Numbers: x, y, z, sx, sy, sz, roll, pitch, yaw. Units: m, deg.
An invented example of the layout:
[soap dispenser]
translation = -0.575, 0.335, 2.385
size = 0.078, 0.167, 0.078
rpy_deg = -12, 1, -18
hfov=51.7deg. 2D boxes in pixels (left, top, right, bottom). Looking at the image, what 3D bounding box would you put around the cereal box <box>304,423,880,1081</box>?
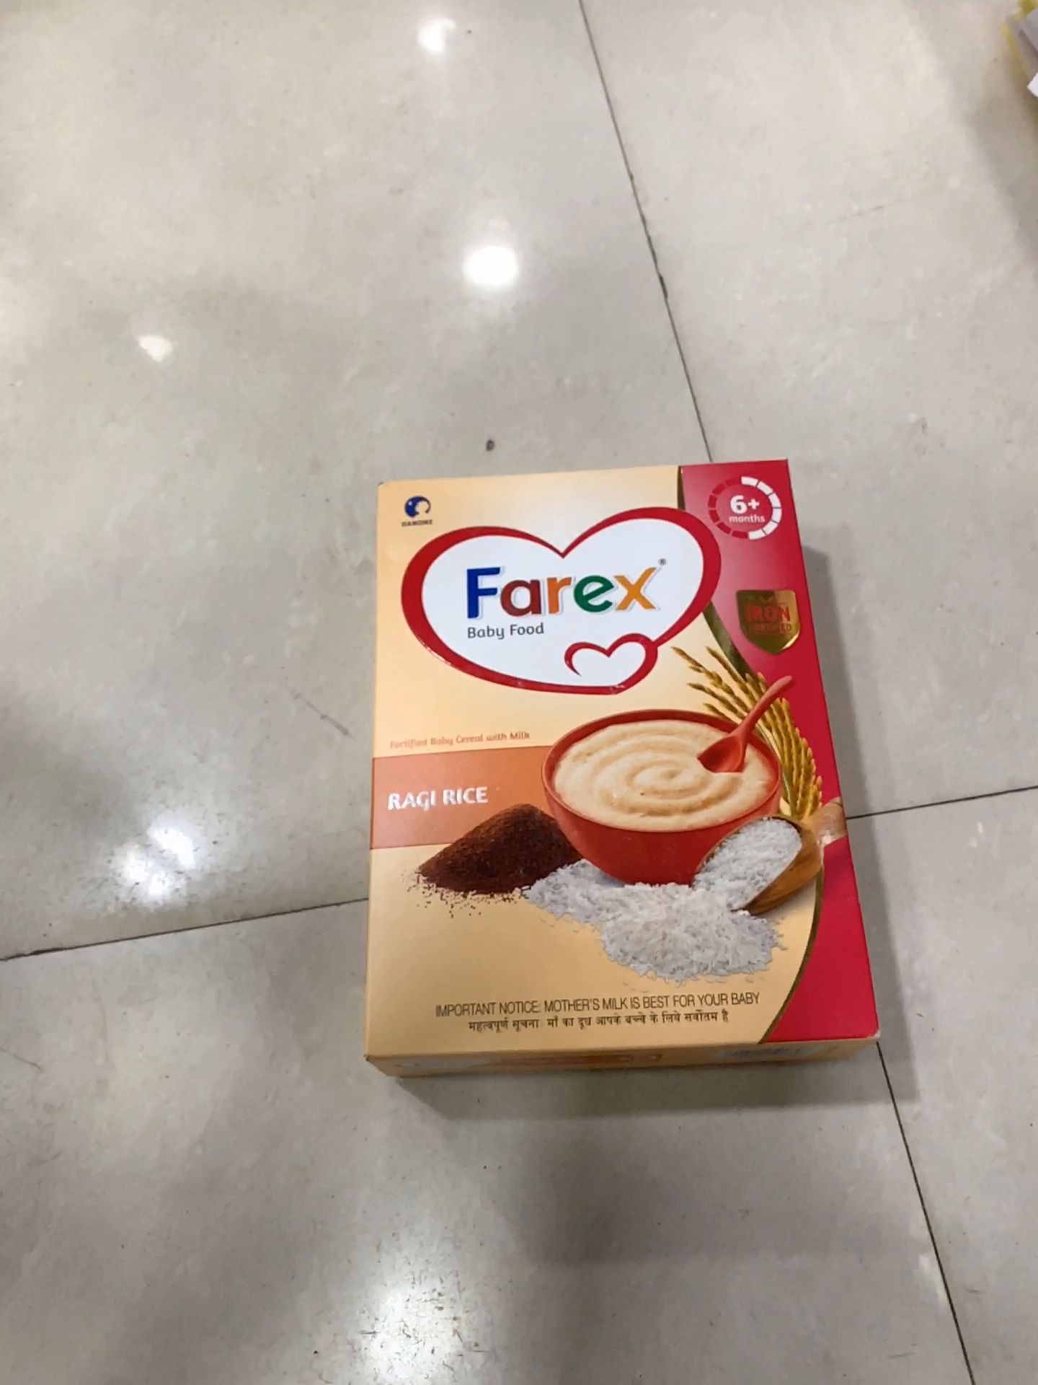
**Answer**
[cereal box]
translation = 0.016, 0.013, 0.340
size = 0.150, 0.050, 0.200
rpy_deg = -1, 67, -2
